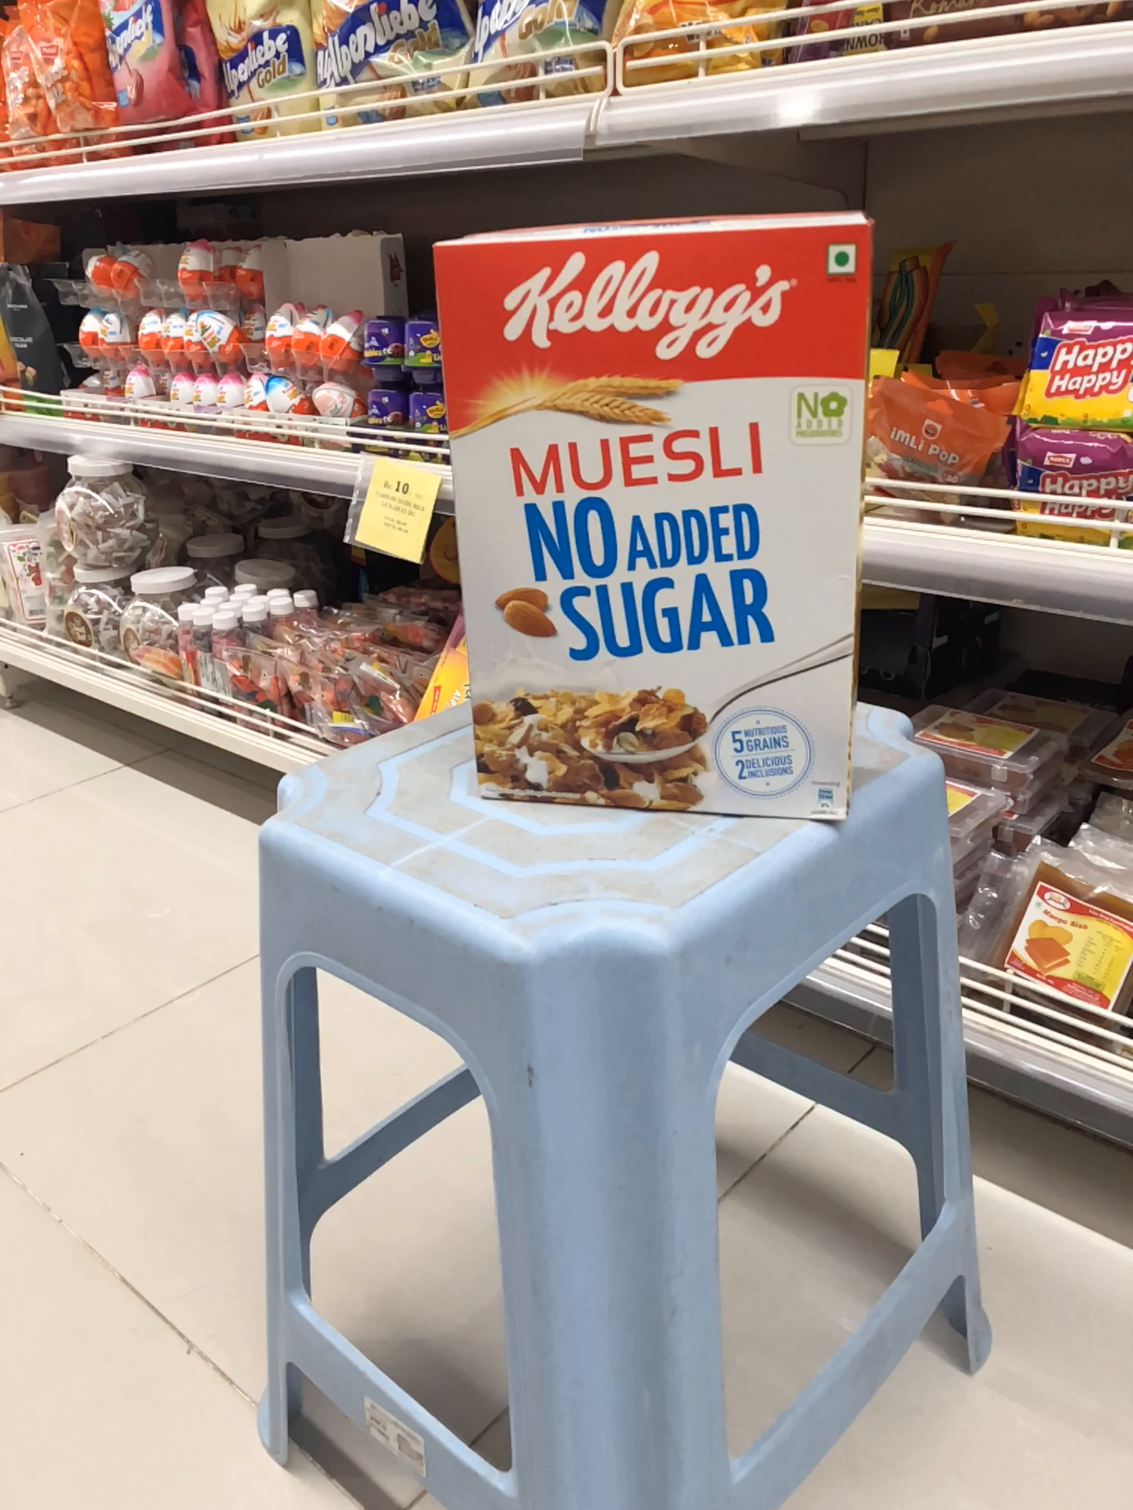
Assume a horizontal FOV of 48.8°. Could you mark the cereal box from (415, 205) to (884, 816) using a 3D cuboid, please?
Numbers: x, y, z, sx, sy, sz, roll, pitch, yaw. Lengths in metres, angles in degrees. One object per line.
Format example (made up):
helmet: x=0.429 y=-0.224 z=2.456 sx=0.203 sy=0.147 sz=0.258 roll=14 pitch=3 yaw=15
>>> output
cereal box: x=0.044 y=-0.109 z=0.580 sx=0.190 sy=0.259 sz=0.070 roll=3 pitch=23 yaw=14
